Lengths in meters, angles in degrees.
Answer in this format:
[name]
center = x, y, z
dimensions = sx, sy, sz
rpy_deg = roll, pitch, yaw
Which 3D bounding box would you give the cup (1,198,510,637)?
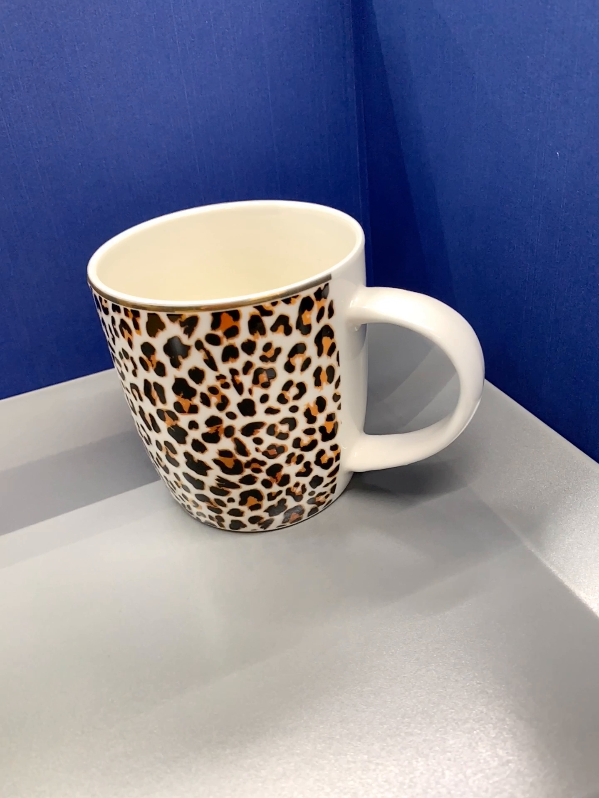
[cup]
center = -0.004, -0.007, 0.217
dimensions = 0.126, 0.095, 0.099
rpy_deg = 10, 35, 24
